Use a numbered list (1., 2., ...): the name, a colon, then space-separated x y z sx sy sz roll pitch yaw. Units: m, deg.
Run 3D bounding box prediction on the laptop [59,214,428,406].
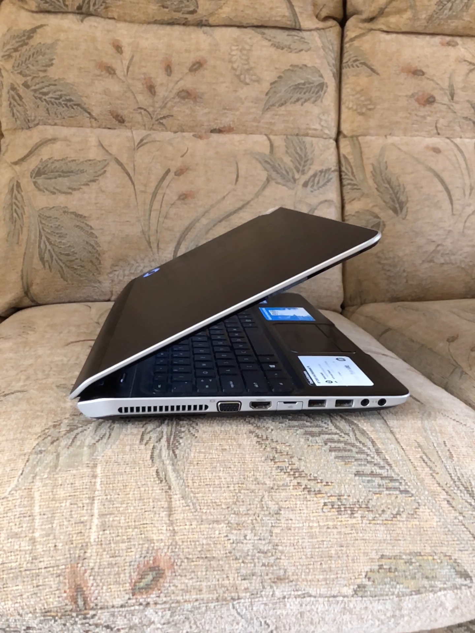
1. laptop: -0.014 -0.041 0.569 0.253 0.113 0.398 -1 15 -8
